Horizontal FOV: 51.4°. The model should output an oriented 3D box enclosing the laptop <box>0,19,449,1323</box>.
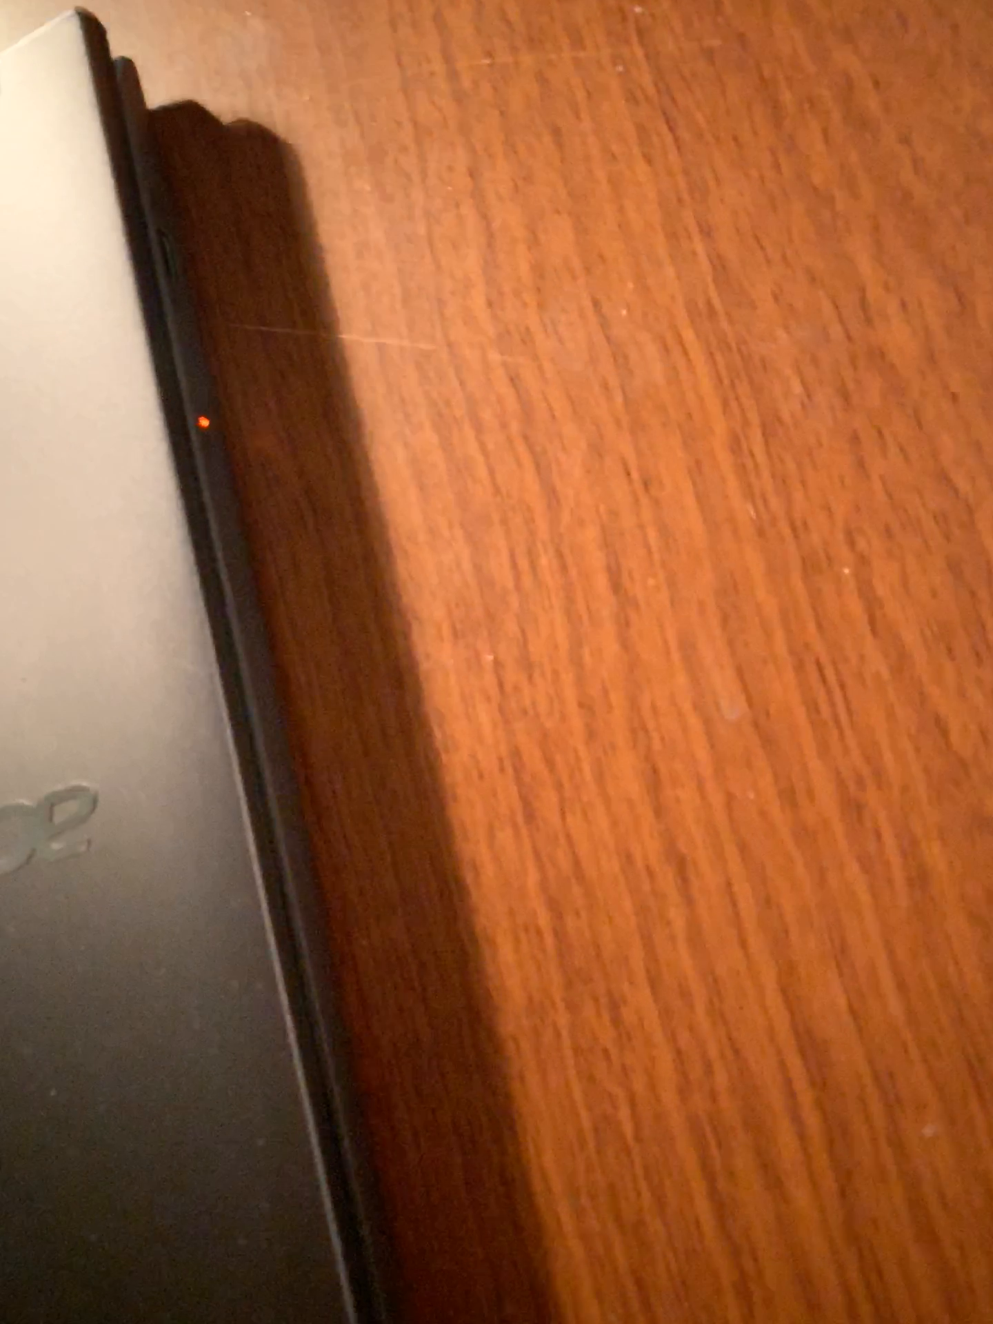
[{"bbox_3d":[-0.169,0.055,0.189,0.299,0.002,0.232,-16,82,20],"label":"laptop"}]
